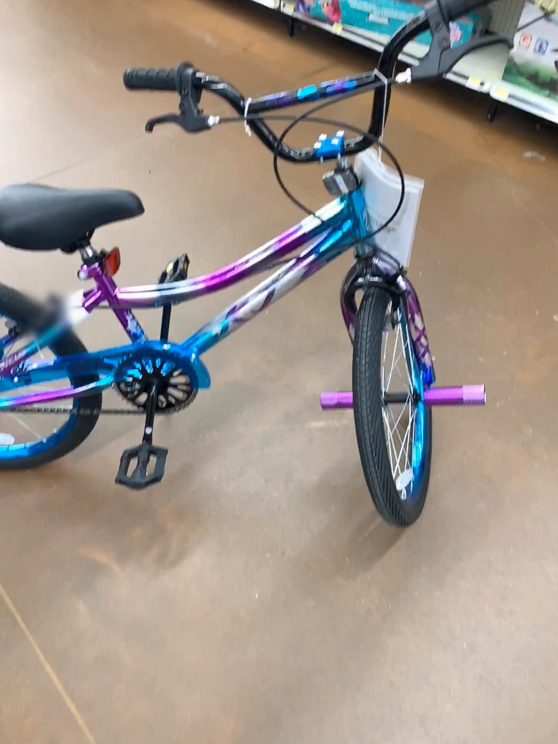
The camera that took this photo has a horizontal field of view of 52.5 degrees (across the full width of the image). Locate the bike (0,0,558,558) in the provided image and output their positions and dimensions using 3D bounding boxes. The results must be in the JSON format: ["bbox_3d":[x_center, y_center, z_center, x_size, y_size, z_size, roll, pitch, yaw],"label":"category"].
[{"bbox_3d":[-0.253,-0.254,1.030,1.119,0.876,0.623,-6,50,-8],"label":"bike"}]
